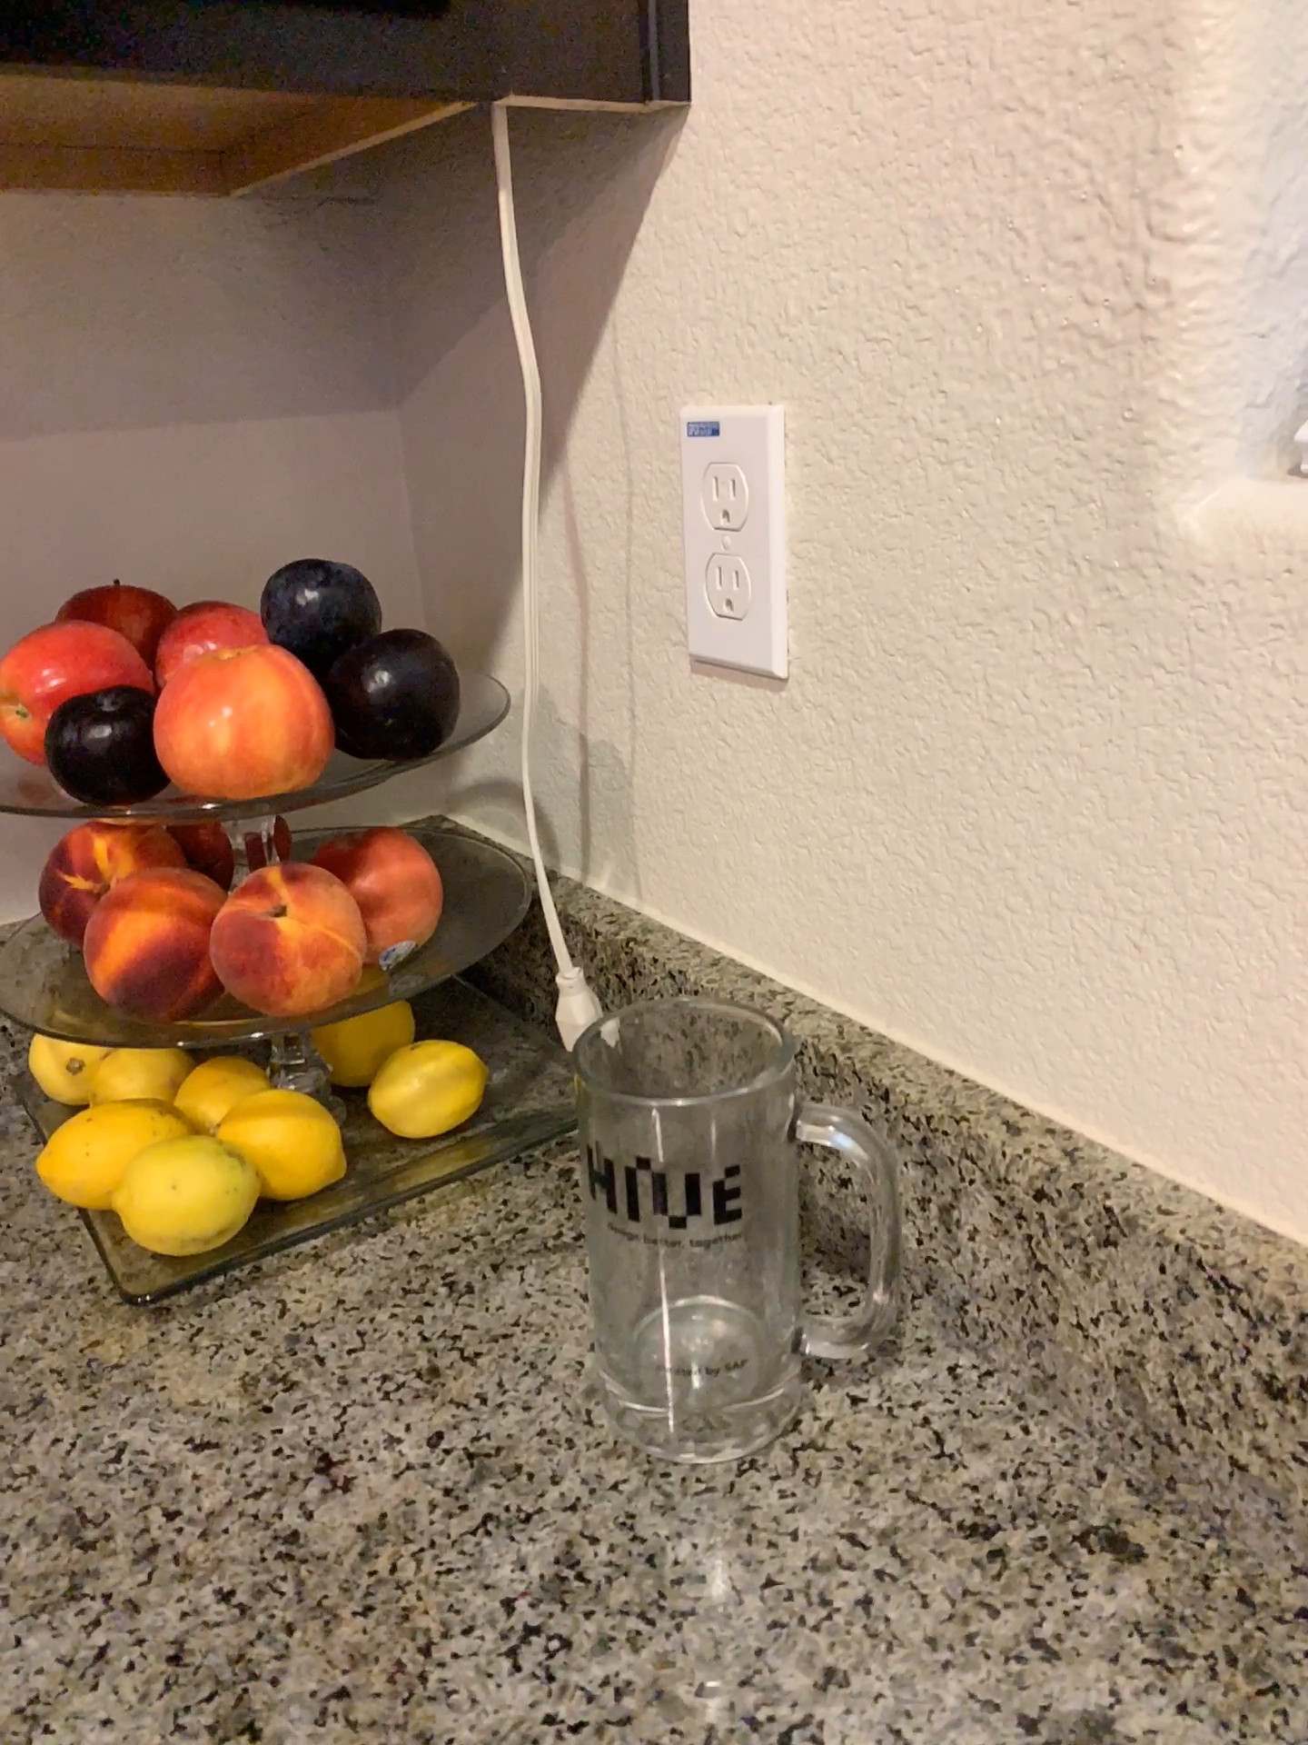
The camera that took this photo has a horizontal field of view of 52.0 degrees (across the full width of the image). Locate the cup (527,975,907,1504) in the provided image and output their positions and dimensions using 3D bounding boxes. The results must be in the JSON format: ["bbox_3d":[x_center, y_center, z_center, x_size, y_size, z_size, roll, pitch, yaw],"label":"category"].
[{"bbox_3d":[0.029,0.131,0.498,0.120,0.159,0.080,2,20,15],"label":"cup"}]
